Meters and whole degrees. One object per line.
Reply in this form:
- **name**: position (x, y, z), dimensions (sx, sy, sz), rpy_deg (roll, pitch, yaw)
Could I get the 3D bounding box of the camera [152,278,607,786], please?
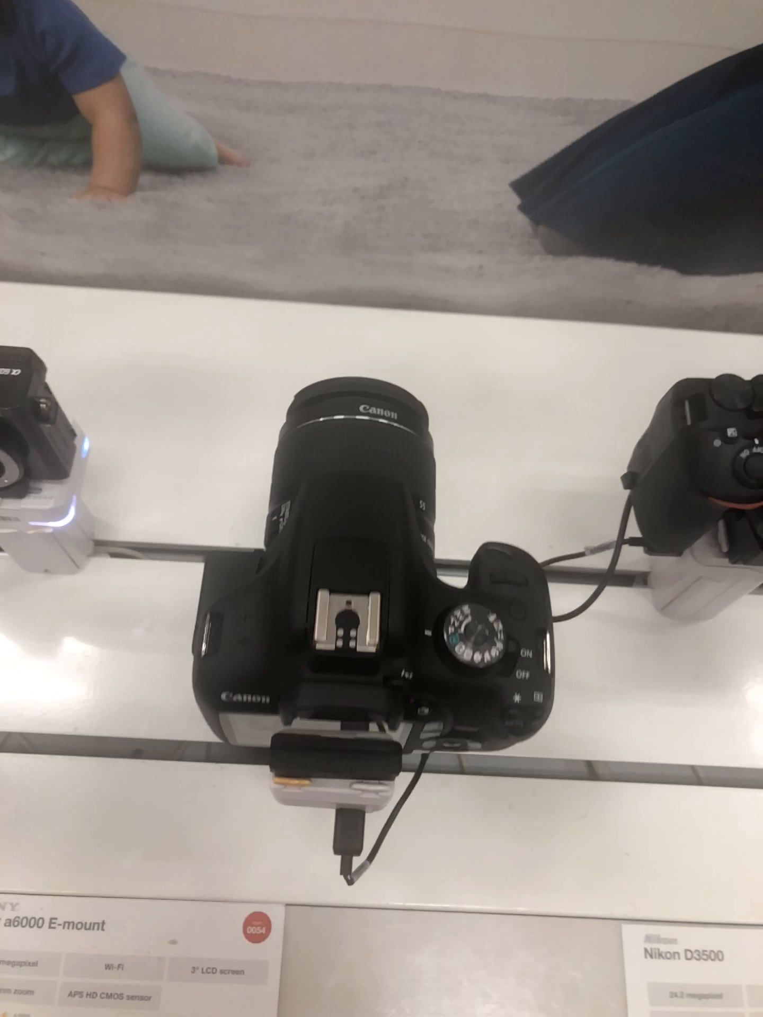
- **camera**: position (0.002, 0.012, 0.336), dimensions (0.140, 0.090, 0.170), rpy_deg (4, 66, -2)
